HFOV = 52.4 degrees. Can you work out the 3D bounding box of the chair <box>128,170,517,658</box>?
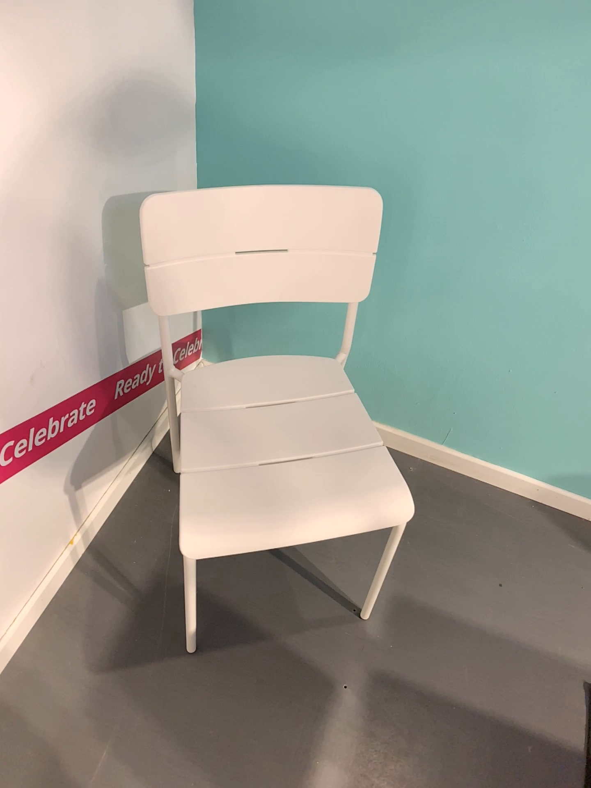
[{"bbox_3d":[-0.036,0.083,1.105,0.430,0.808,0.451,-5,50,-12],"label":"chair"}]
